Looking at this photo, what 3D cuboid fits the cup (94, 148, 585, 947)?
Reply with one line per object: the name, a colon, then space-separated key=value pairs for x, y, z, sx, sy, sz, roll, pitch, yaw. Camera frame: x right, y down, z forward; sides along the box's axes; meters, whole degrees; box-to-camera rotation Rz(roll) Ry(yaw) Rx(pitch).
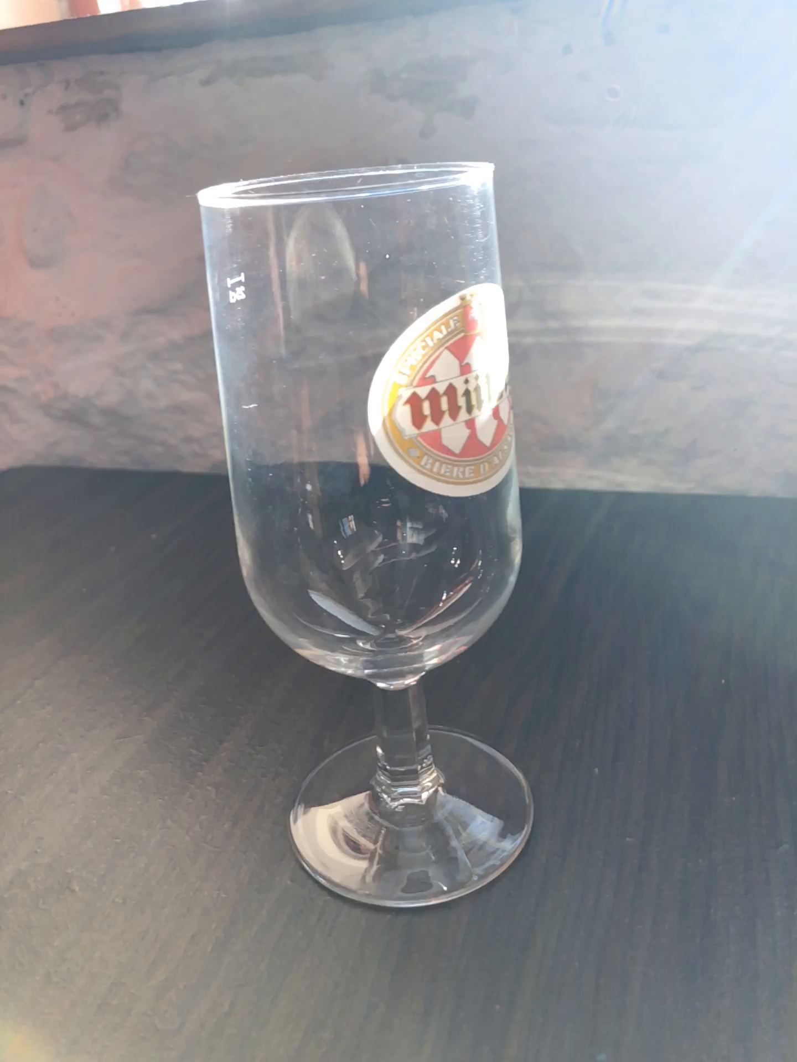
cup: x=-0.005 y=0.000 z=0.206 sx=0.070 sy=0.155 sz=0.067 roll=-5 pitch=23 yaw=2
